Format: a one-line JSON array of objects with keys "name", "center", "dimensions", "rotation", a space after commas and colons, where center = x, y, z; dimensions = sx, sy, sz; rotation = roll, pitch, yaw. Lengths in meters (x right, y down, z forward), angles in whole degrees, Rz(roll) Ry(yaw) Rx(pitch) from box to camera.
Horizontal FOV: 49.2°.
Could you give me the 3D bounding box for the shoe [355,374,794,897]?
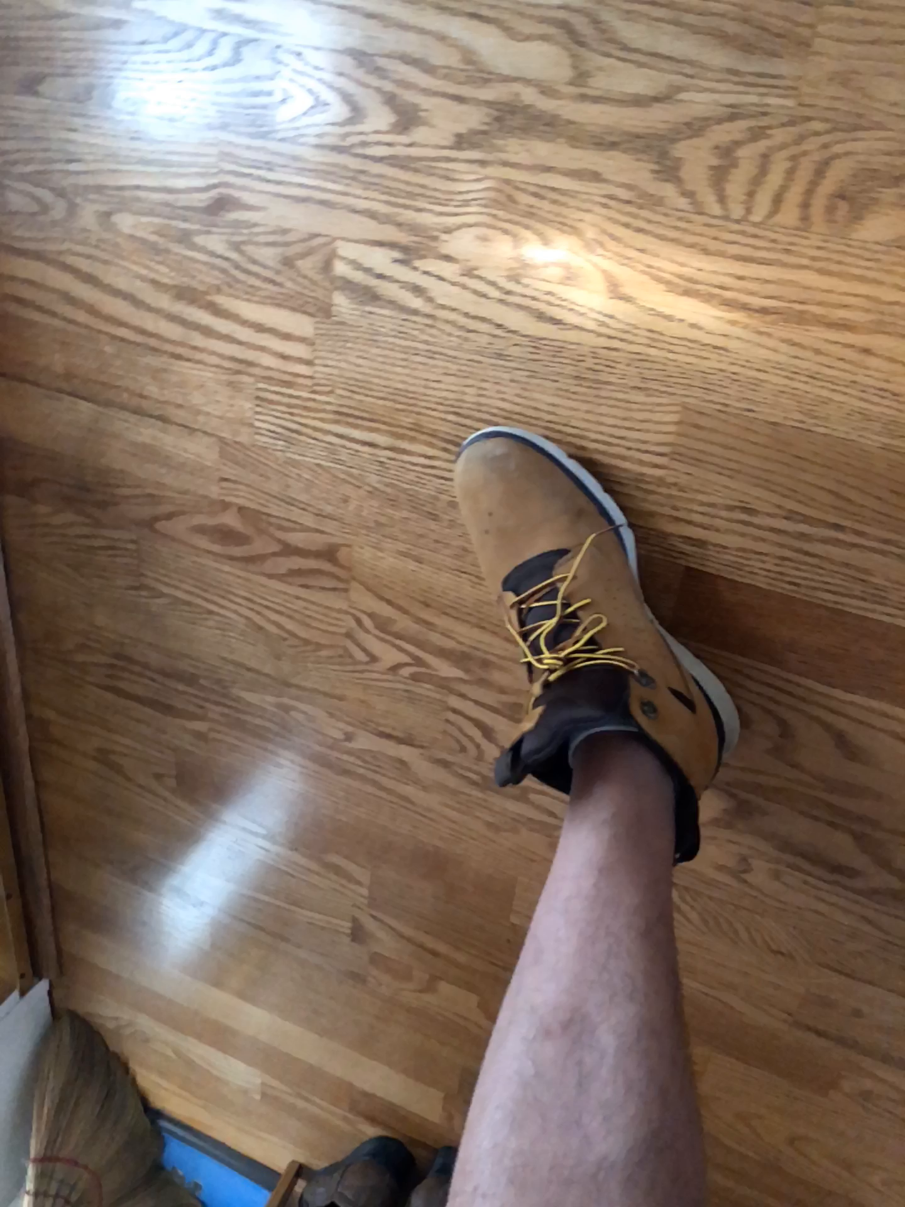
[{"name": "shoe", "center": [0.090, 0.014, 0.684], "dimensions": [0.120, 0.149, 0.310], "rotation": [-29, 89, 34]}]
